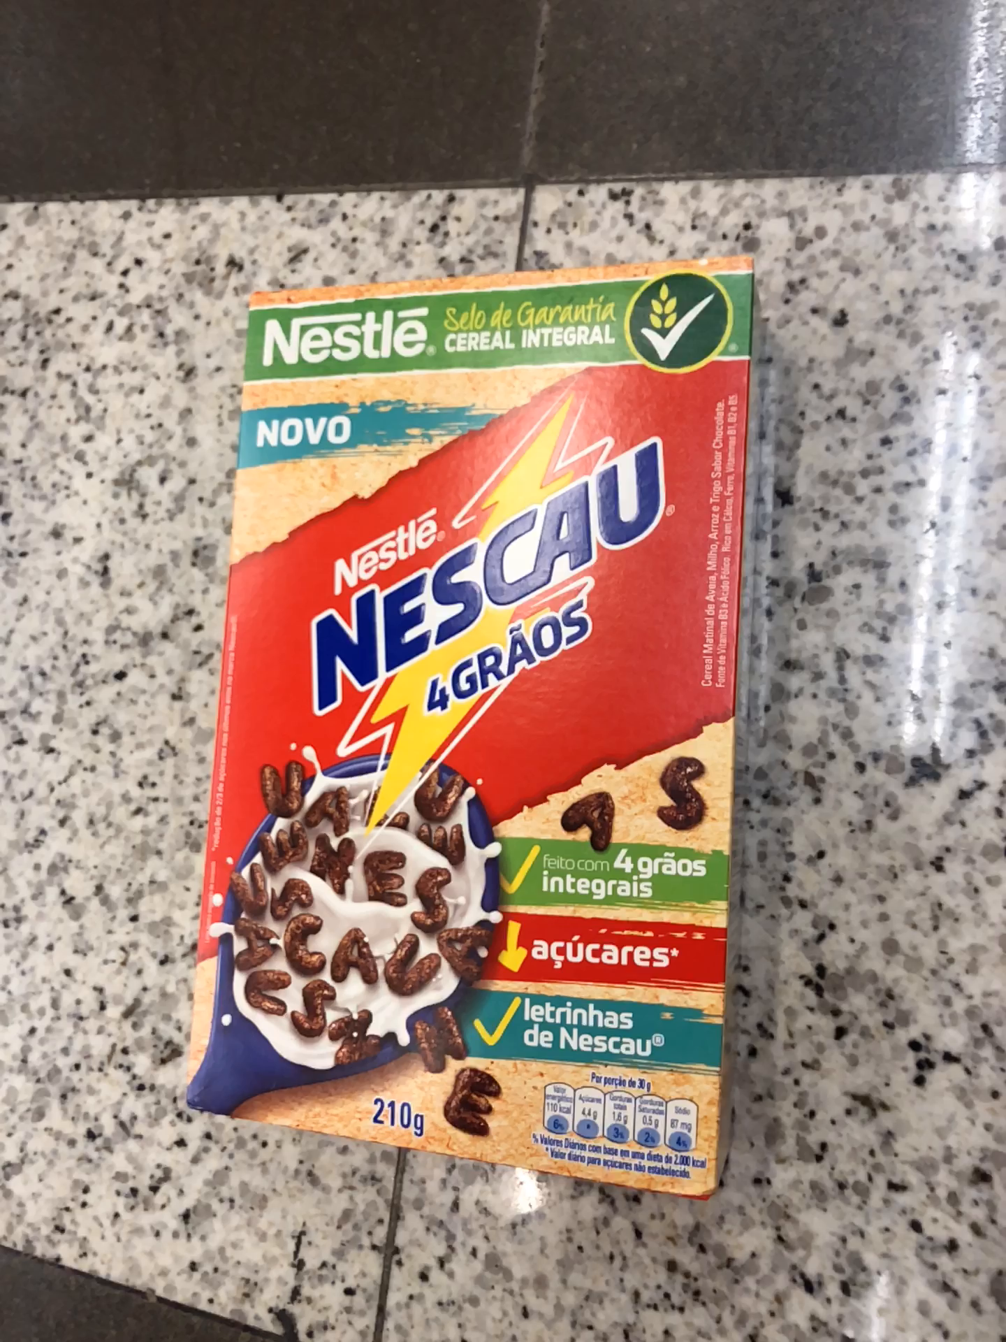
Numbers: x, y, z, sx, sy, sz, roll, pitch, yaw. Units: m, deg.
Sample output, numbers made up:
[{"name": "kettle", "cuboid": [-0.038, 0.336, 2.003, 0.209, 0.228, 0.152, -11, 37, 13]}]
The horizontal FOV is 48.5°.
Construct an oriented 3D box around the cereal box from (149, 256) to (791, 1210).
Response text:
[{"name": "cereal box", "cuboid": [-0.008, 0.011, 0.331, 0.170, 0.050, 0.240, 2, 85, 18]}]
